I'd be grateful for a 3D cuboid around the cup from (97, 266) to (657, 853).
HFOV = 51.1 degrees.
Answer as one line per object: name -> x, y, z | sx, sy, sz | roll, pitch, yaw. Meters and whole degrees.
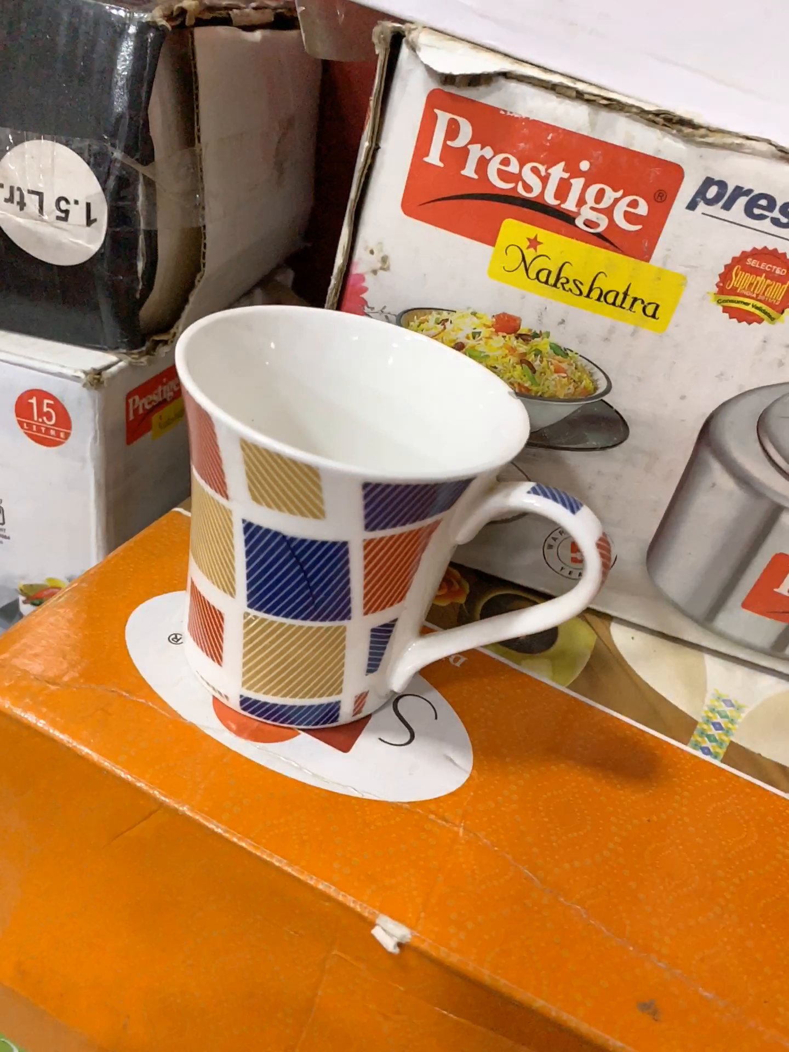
cup -> -0.005, 0.005, 0.197 | 0.100, 0.089, 0.070 | 19, 34, 4
